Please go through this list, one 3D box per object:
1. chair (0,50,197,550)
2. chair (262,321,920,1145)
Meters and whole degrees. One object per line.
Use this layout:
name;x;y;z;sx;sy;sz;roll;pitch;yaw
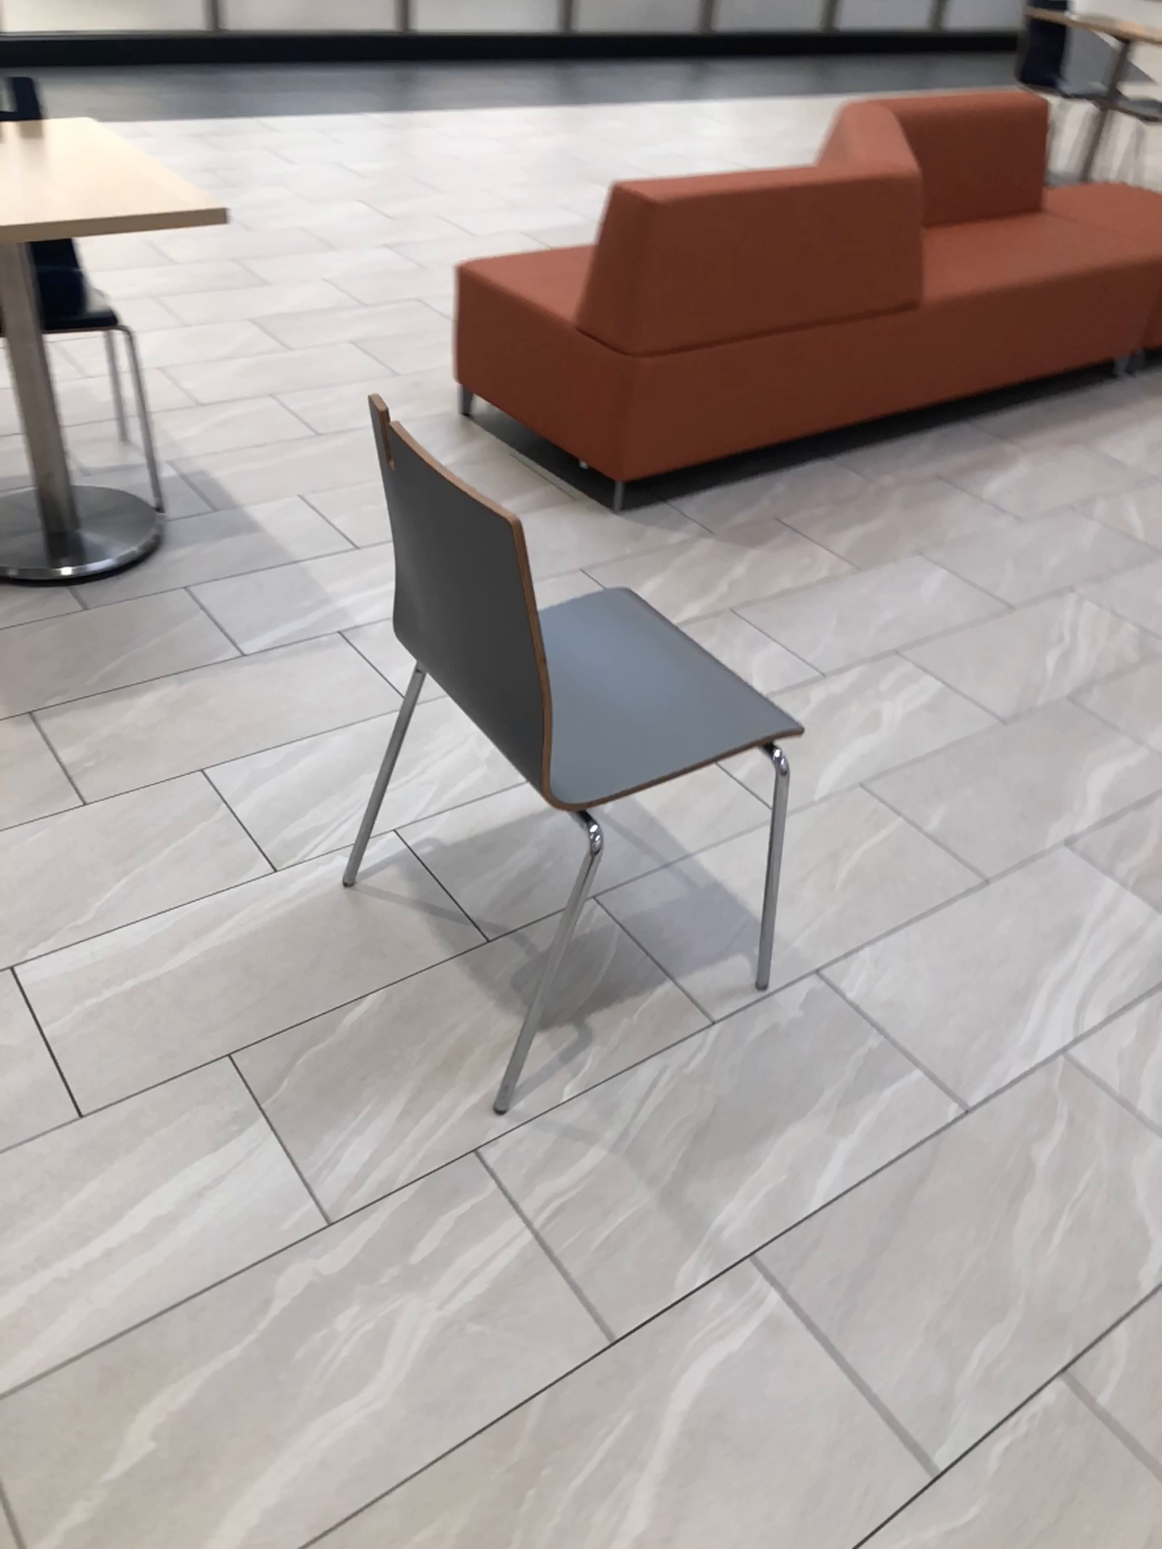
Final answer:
chair;-1.130;-0.954;2.544;0.515;0.777;0.537;-13;41;-25
chair;-0.034;-0.073;1.621;0.516;0.787;0.525;-18;43;-30
